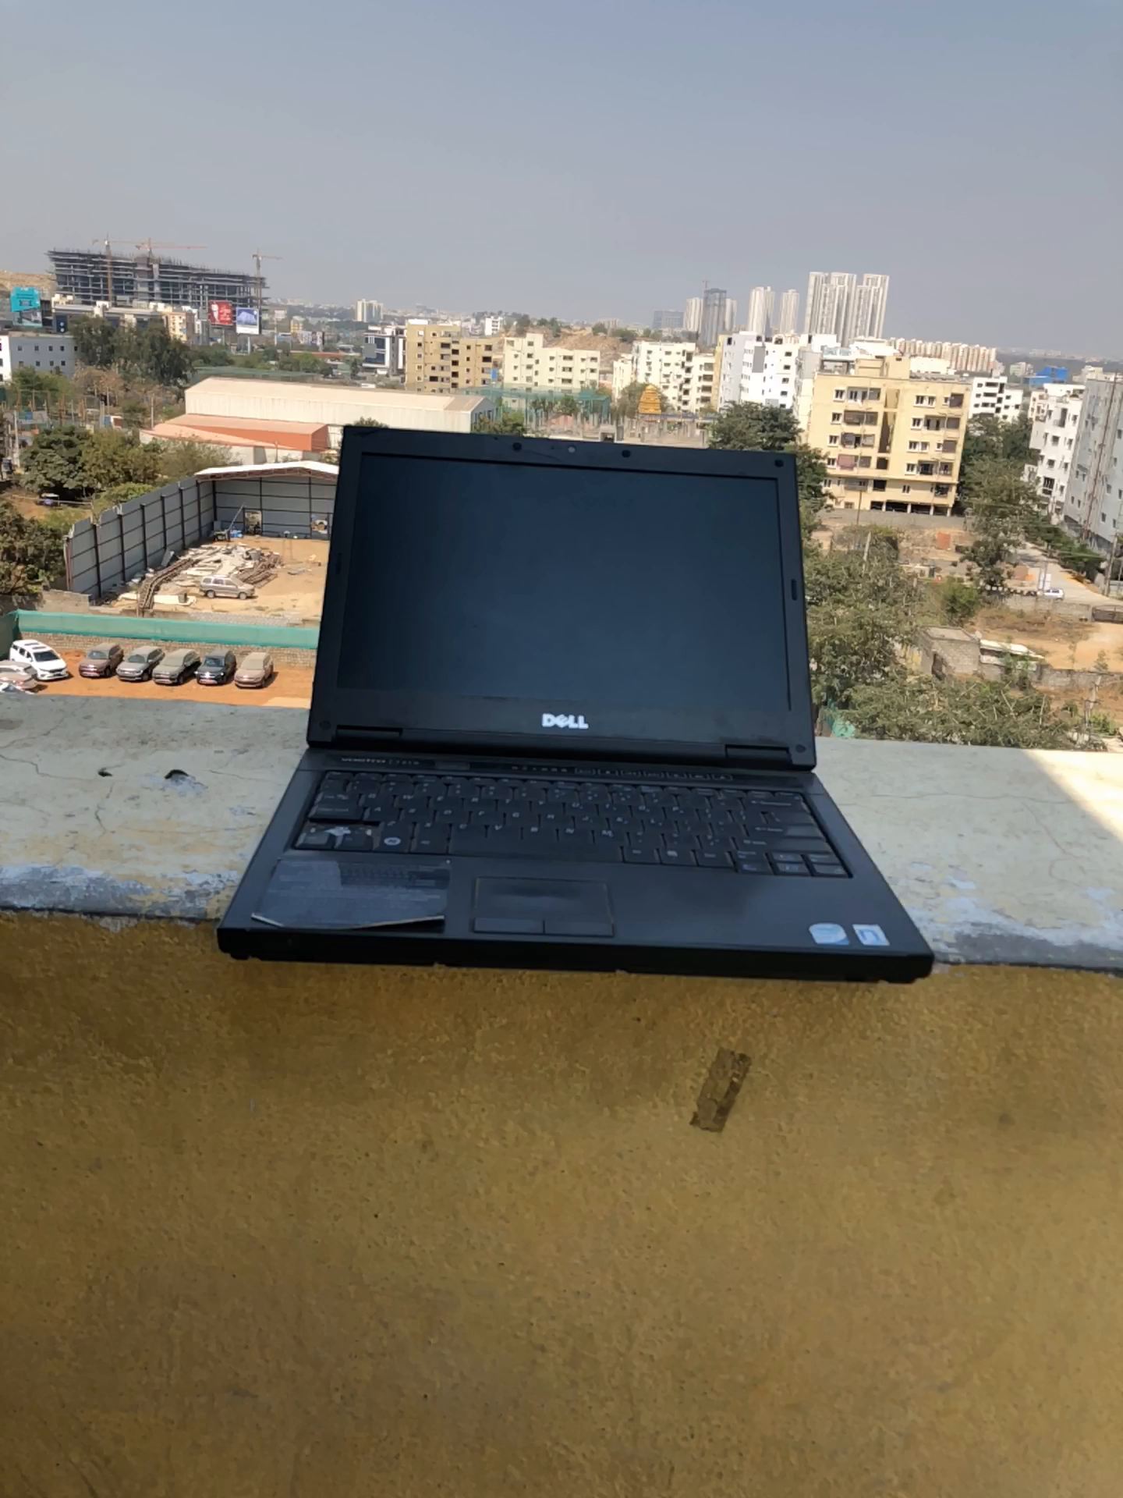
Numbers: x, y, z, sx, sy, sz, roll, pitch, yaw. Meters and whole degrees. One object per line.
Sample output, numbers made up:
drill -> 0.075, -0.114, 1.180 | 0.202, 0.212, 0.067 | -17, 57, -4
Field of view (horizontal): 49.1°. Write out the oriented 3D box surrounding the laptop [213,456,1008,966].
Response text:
laptop -> 0.014, -0.051, 0.671 | 0.301, 0.178, 0.377 | 2, 17, -2
